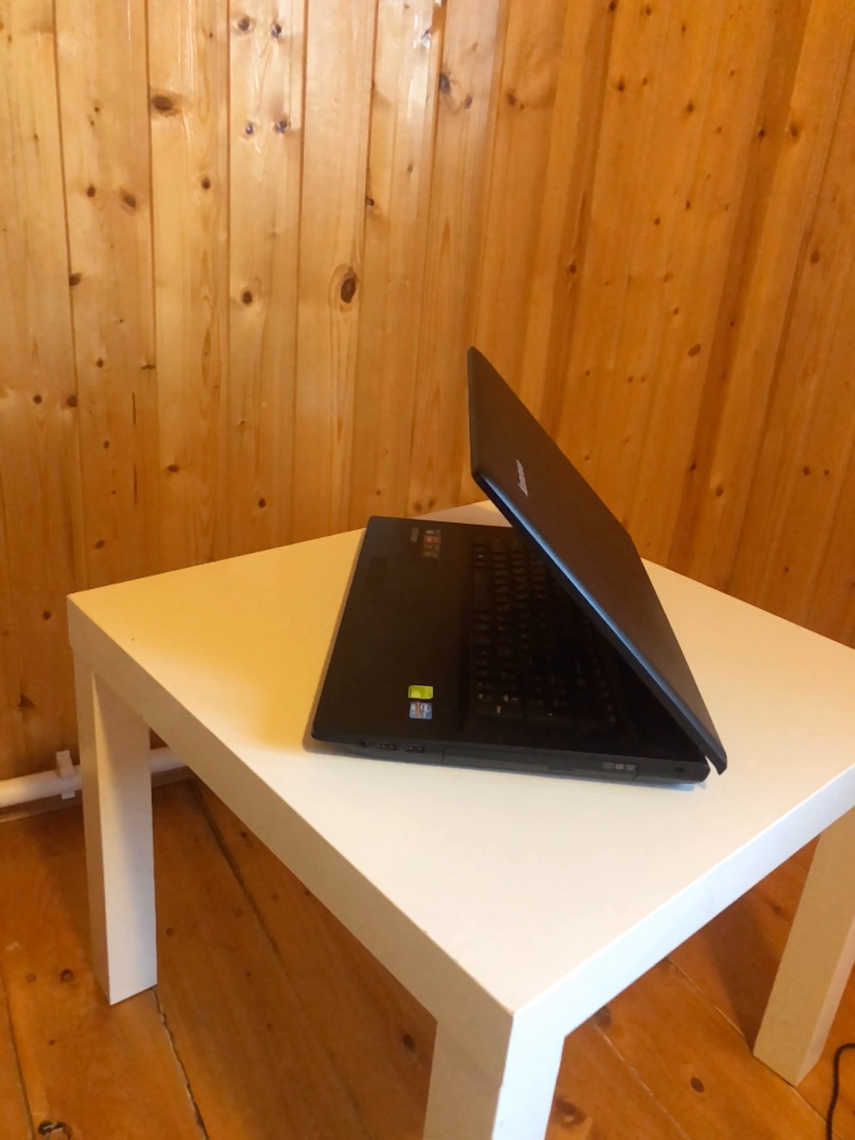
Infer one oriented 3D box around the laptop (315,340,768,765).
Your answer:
[{"bbox_3d":[0.072,-0.047,0.763,0.260,0.179,0.391,5,24,0],"label":"laptop"}]
